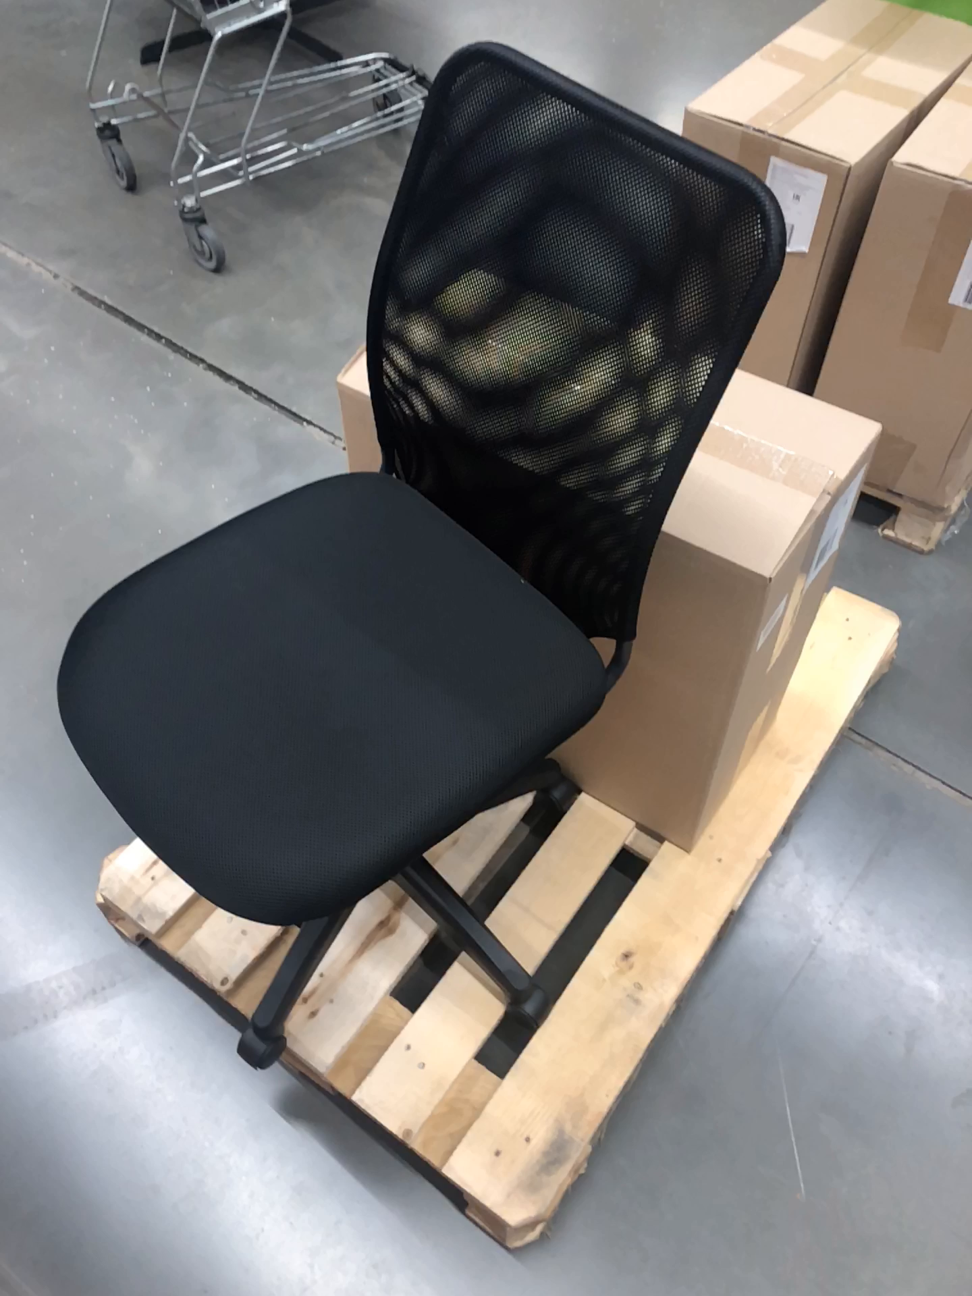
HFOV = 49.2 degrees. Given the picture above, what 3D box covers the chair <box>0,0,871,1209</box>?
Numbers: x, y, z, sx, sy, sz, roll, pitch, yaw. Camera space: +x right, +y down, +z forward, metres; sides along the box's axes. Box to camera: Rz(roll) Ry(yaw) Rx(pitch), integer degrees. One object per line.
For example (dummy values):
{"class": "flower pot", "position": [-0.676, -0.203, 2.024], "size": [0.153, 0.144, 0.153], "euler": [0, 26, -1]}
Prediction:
{"class": "chair", "position": [-0.160, 0.017, 1.116], "size": [0.572, 1.034, 0.602], "euler": [-36, 59, -25]}
